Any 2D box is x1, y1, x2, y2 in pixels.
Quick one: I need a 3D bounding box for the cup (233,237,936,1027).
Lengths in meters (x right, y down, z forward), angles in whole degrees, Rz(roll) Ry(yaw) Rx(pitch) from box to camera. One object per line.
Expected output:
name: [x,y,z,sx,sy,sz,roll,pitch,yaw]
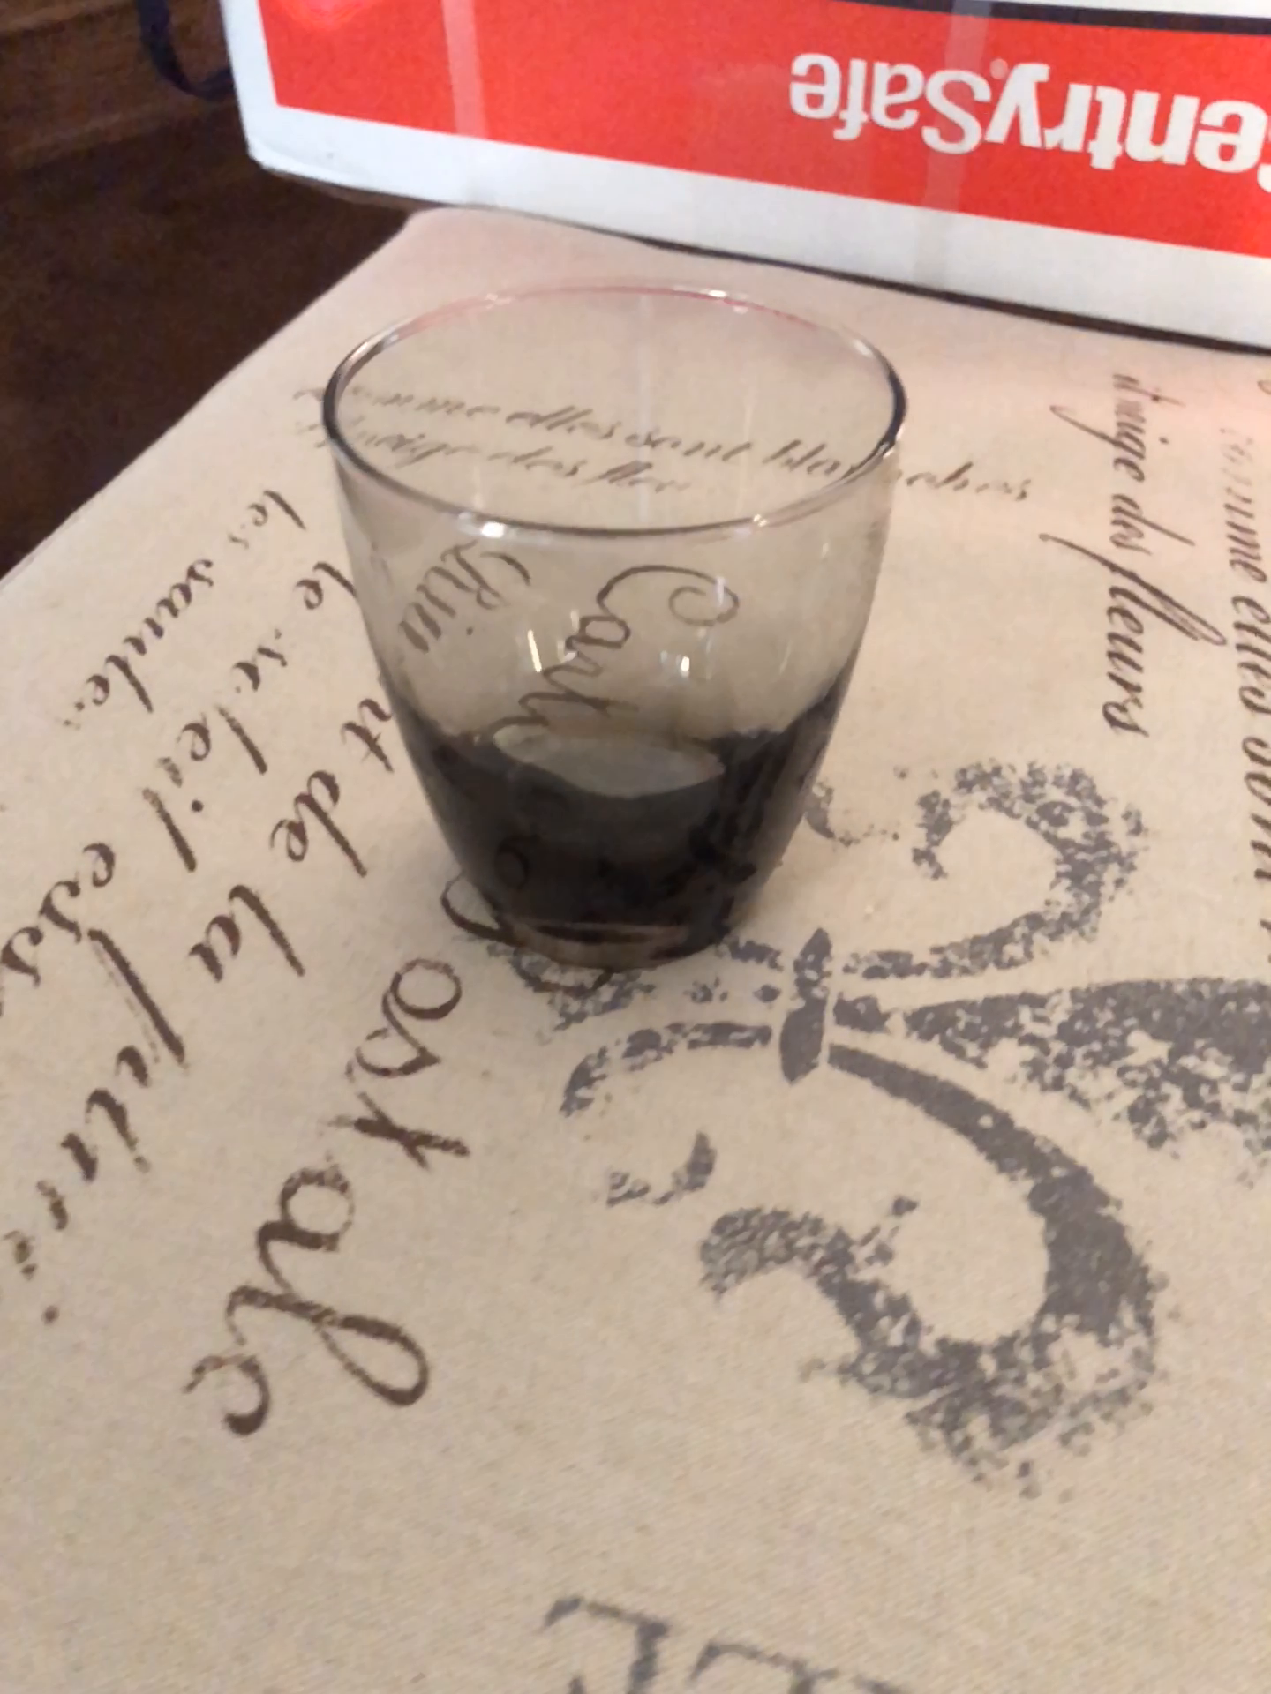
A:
cup: [-0.002,-0.039,0.246,0.088,0.092,0.088,1,42,-1]
